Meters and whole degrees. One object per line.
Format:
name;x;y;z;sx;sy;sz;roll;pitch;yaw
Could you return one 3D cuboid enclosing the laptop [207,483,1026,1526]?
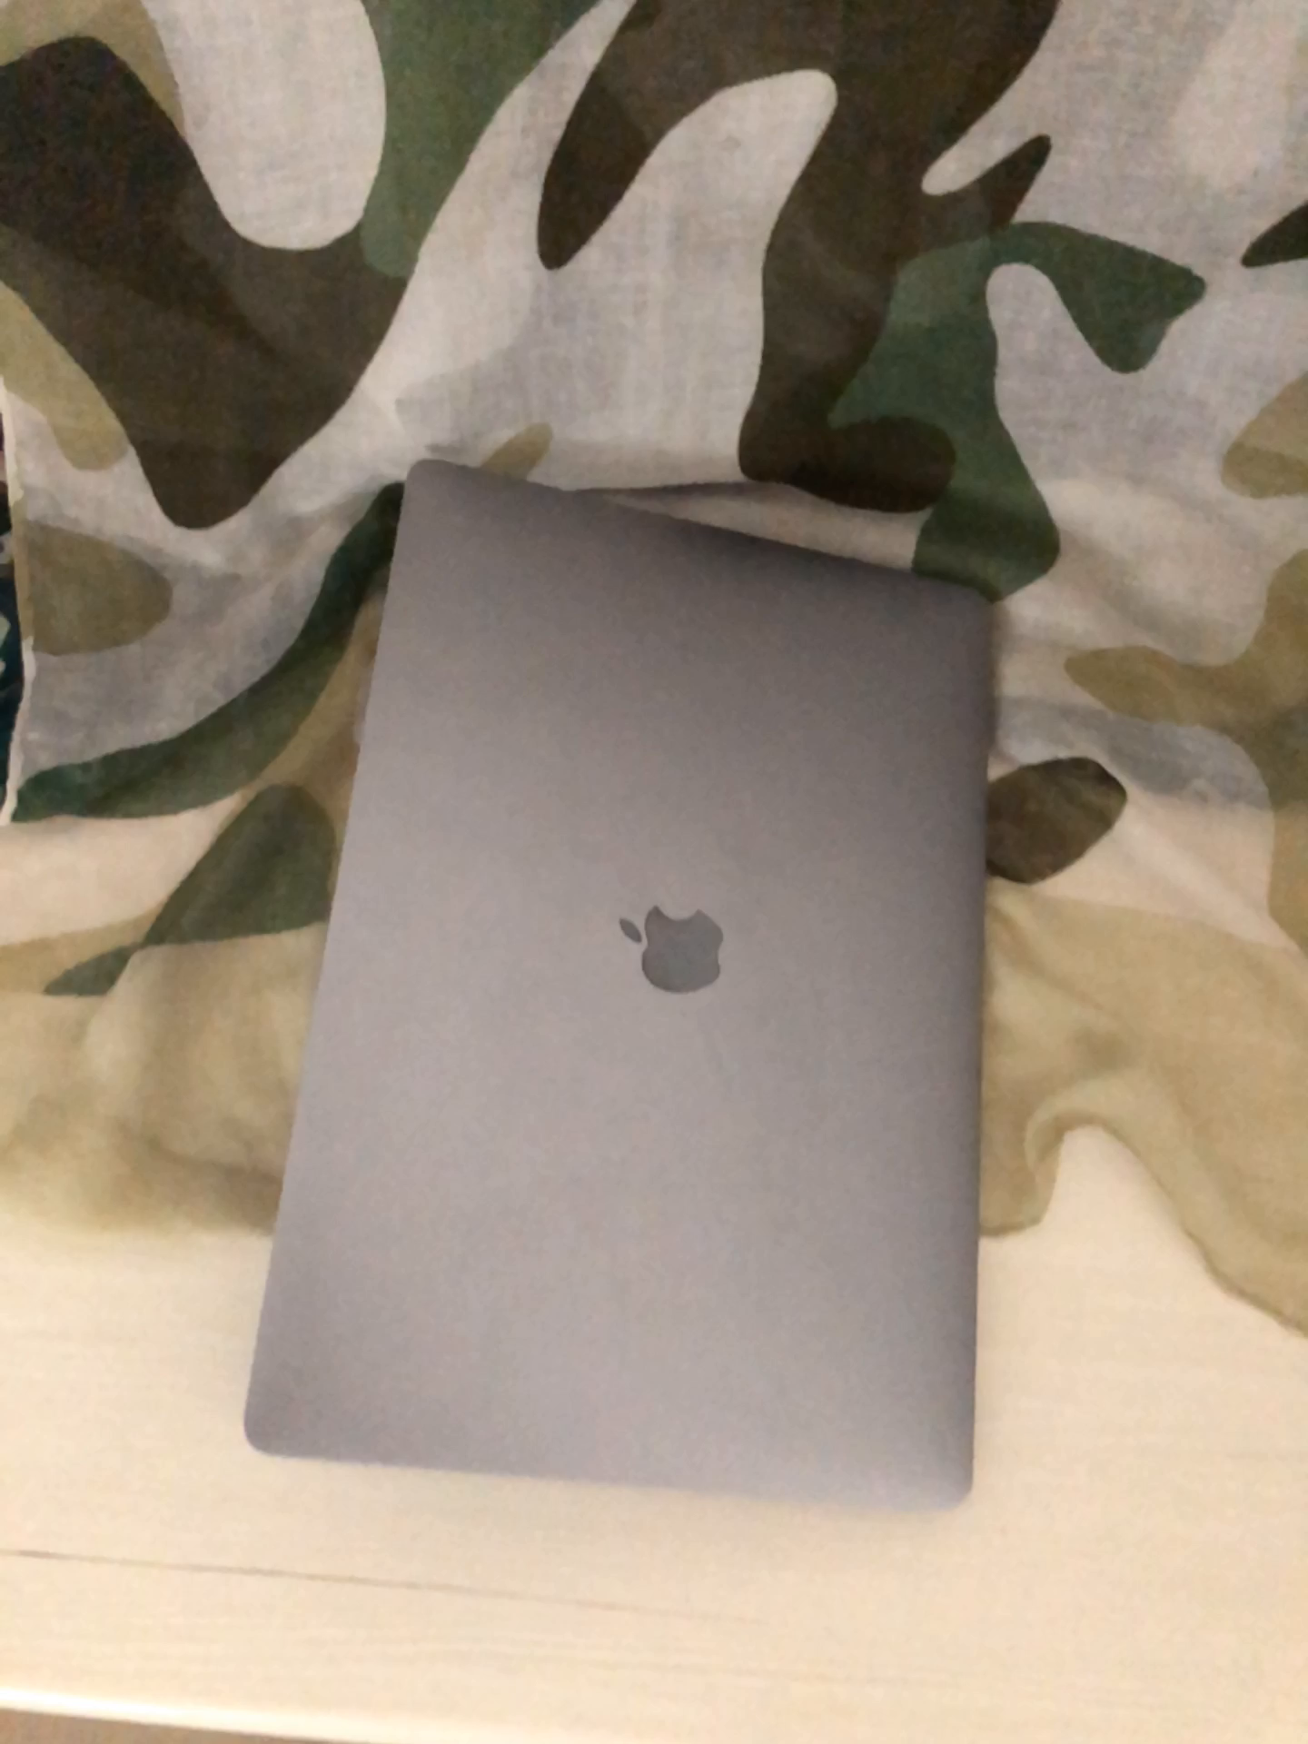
laptop;0.003;0.033;0.514;0.236;0.059;0.339;6;70;1
